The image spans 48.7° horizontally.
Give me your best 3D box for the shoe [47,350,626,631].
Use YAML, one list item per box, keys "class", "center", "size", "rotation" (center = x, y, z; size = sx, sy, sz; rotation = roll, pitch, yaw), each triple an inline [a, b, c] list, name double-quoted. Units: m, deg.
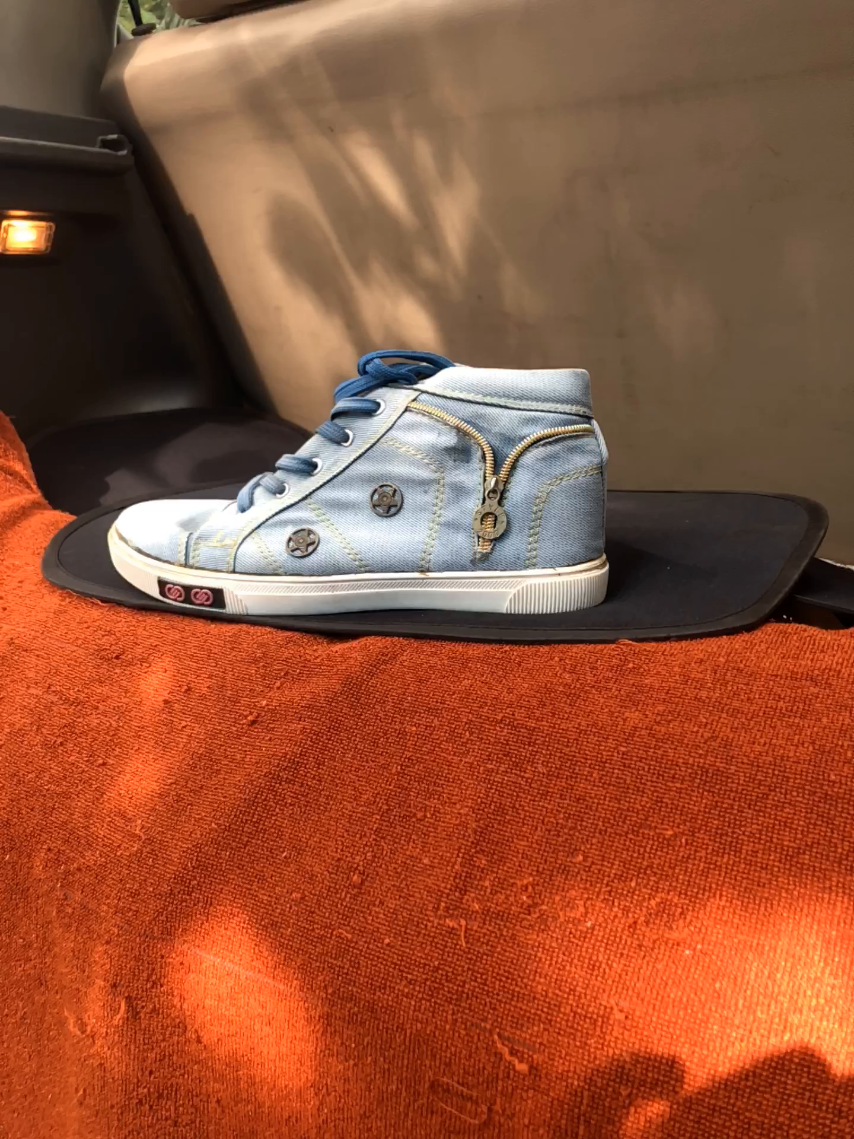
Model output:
- class: "shoe"
  center: [-0.036, -0.048, 0.478]
  size: [0.260, 0.110, 0.111]
  rotation: [2, 18, 14]
